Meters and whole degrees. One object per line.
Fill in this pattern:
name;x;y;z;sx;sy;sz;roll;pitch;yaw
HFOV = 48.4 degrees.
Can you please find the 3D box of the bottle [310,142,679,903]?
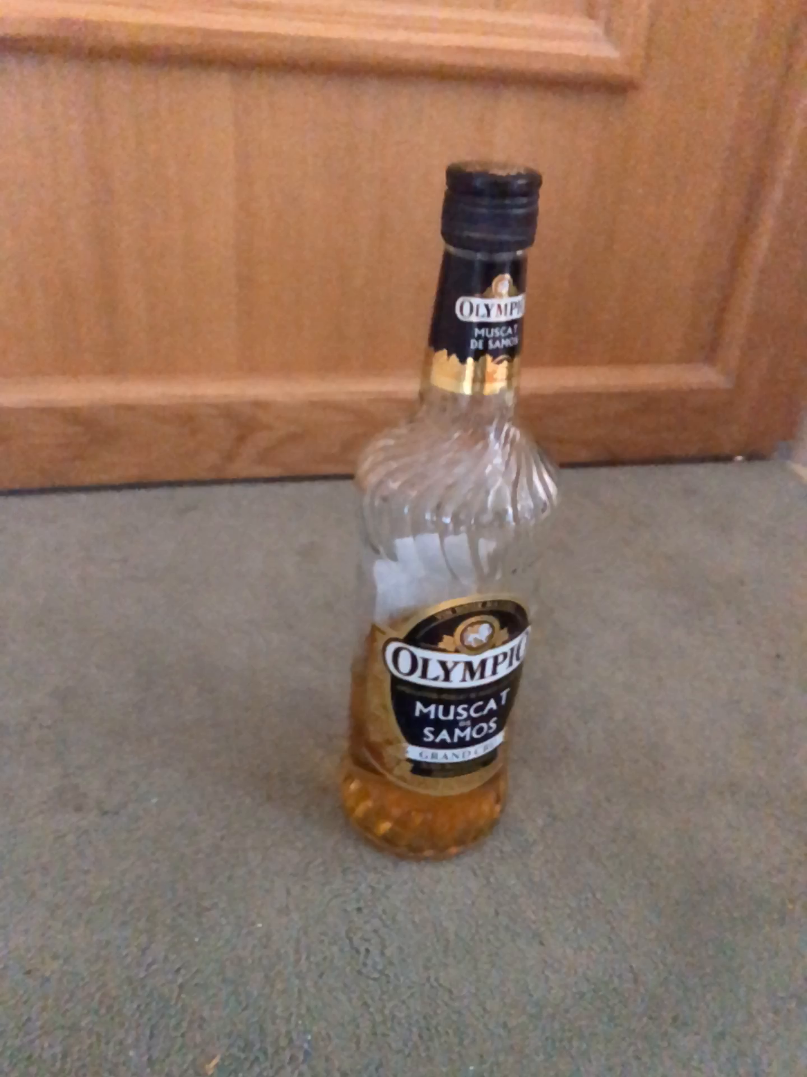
bottle;0.015;0.008;0.356;0.090;0.288;0.090;3;32;-2
